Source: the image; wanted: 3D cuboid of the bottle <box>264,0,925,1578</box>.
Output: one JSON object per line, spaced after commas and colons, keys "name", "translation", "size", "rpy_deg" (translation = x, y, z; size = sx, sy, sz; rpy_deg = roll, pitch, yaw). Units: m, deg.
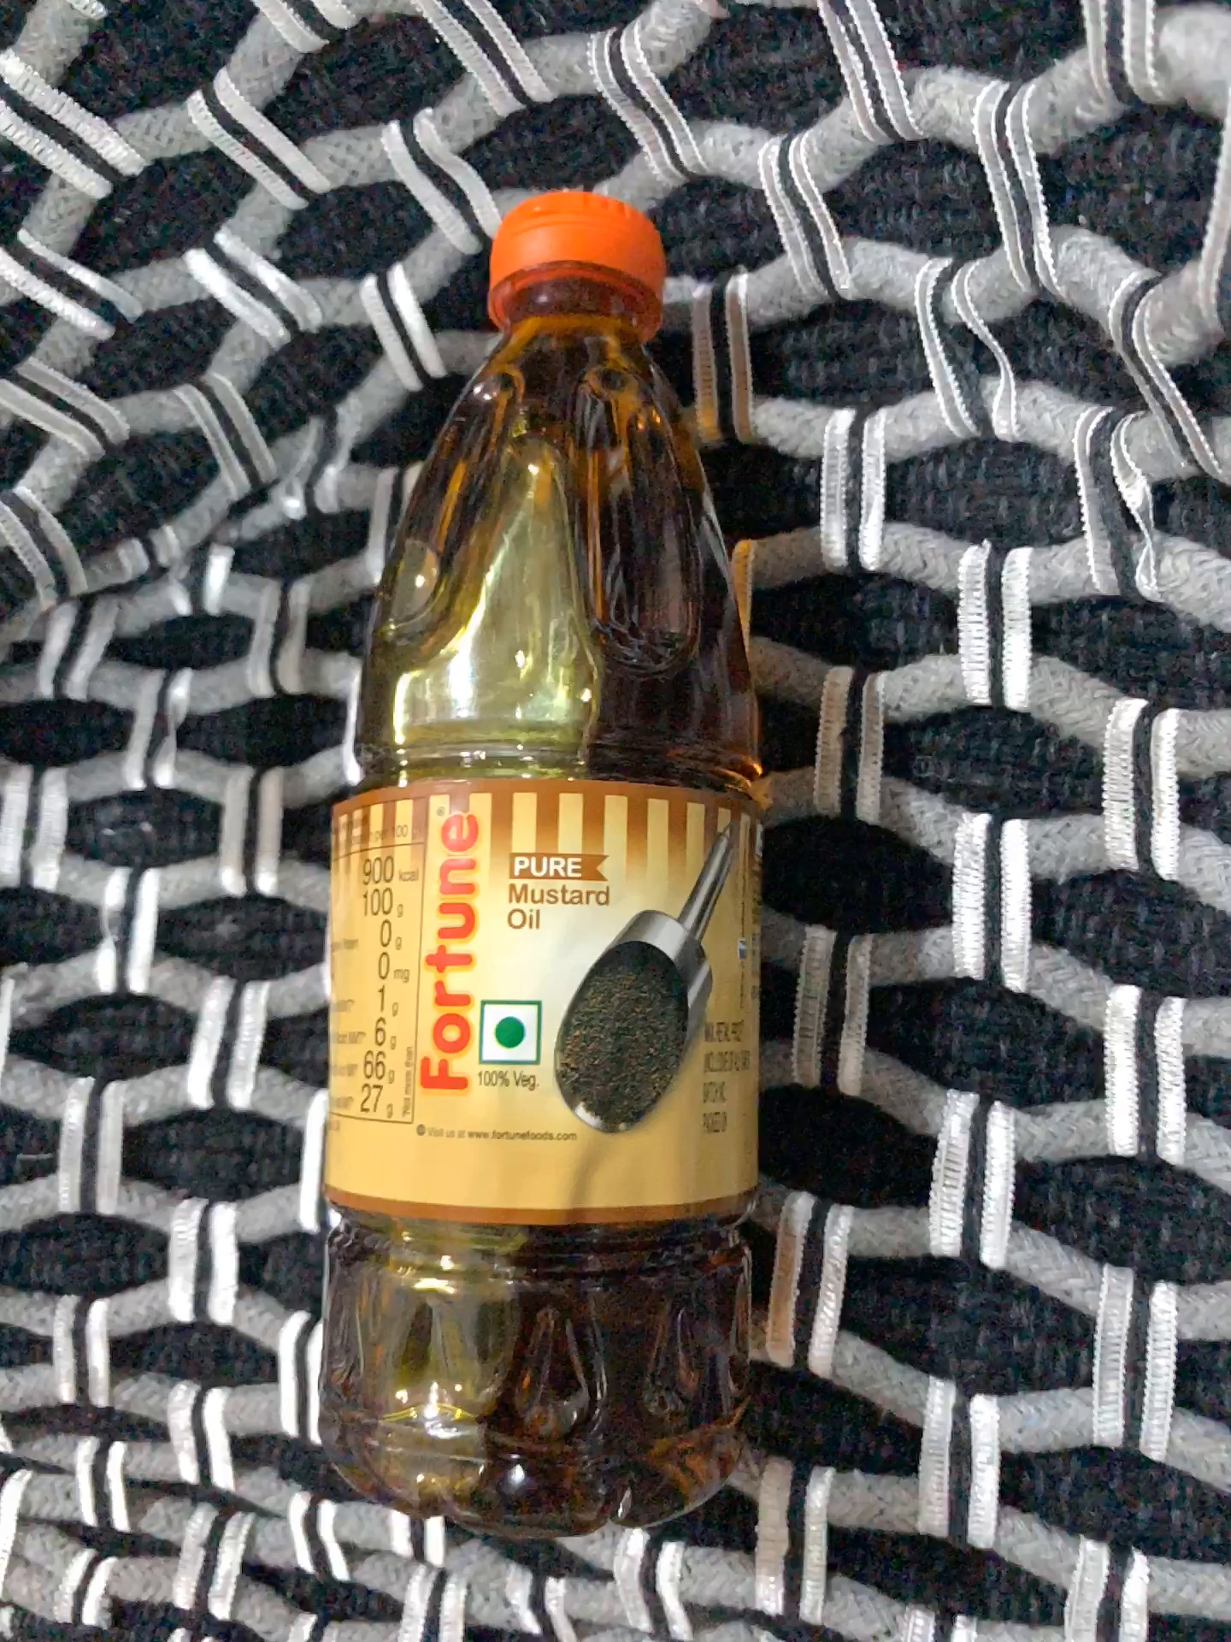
{"name": "bottle", "translation": [-0.004, -0.008, 0.222], "size": [0.080, 0.080, 0.220], "rpy_deg": [155, 120, -67]}
